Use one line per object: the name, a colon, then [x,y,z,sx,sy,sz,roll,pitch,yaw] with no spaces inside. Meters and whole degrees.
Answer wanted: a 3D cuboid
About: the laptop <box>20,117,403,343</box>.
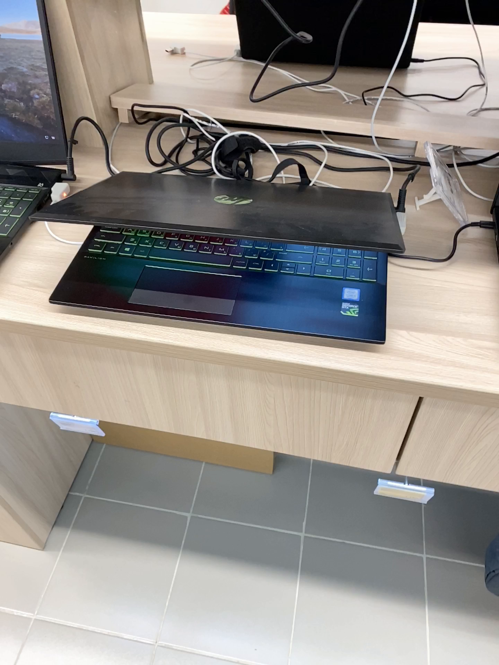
laptop: [-0.021,-0.132,0.580,0.361,0.092,0.243,7,49,7]
